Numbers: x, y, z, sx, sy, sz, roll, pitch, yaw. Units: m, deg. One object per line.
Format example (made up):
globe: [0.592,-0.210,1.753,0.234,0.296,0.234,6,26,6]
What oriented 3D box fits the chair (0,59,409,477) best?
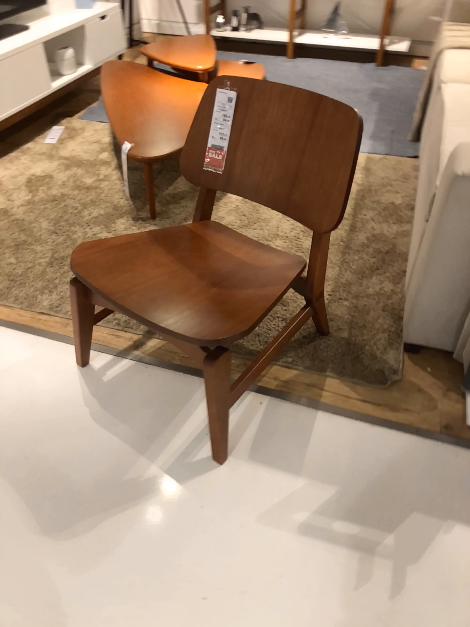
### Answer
chair: [-0.044,-0.158,1.285,0.582,0.655,0.633,28,48,28]
